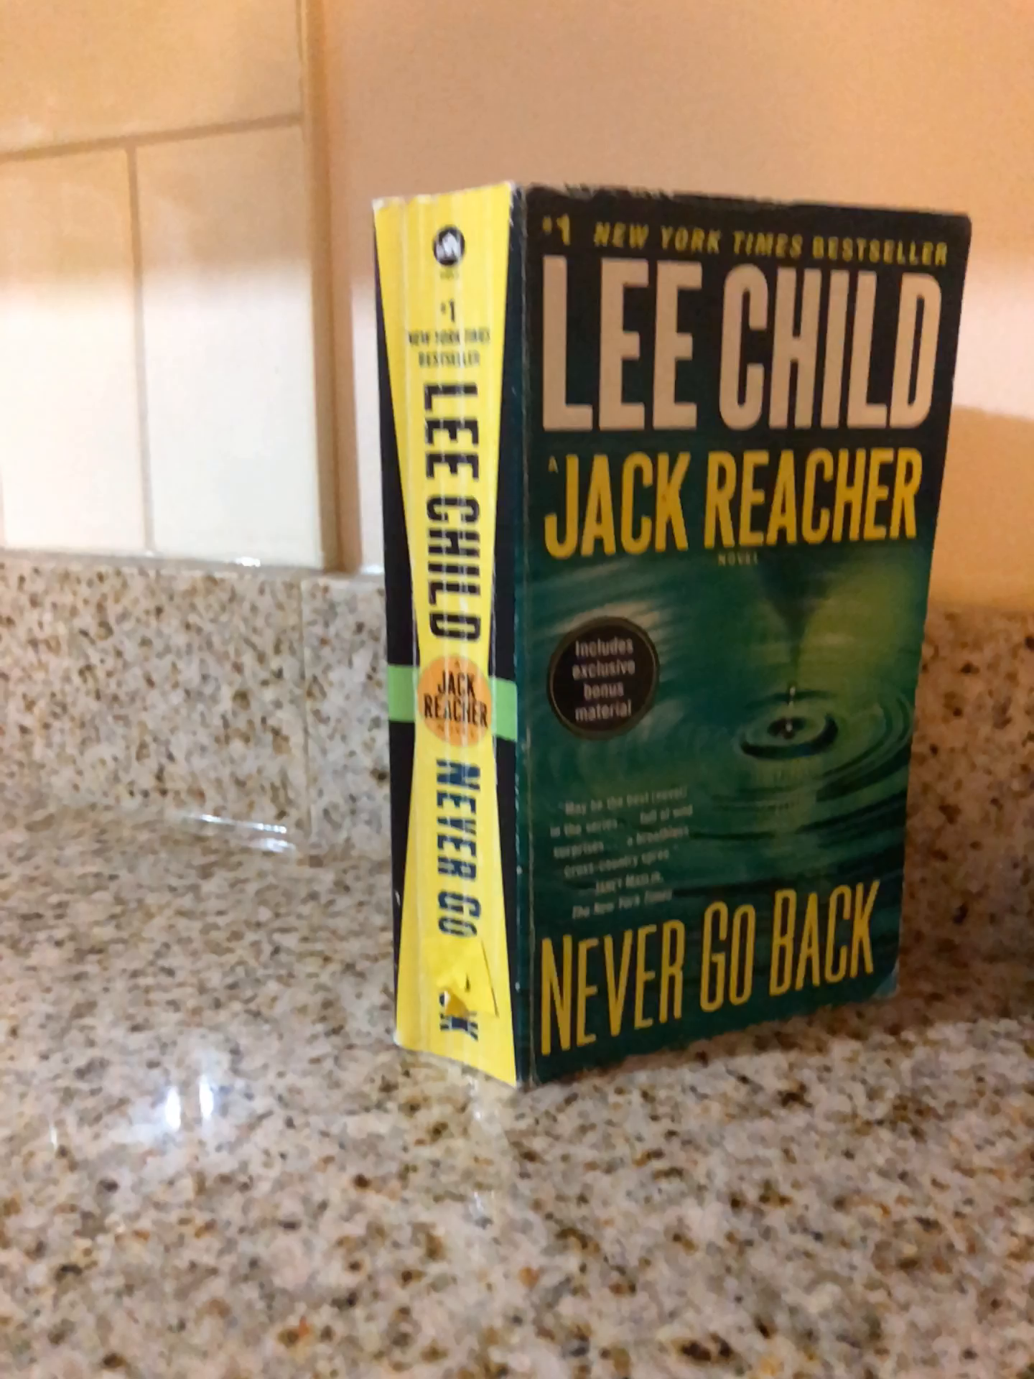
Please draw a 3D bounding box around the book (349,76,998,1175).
[{"bbox_3d":[0.042,-0.016,0.294,0.160,0.219,0.050,-8,16,-35],"label":"book"}]
